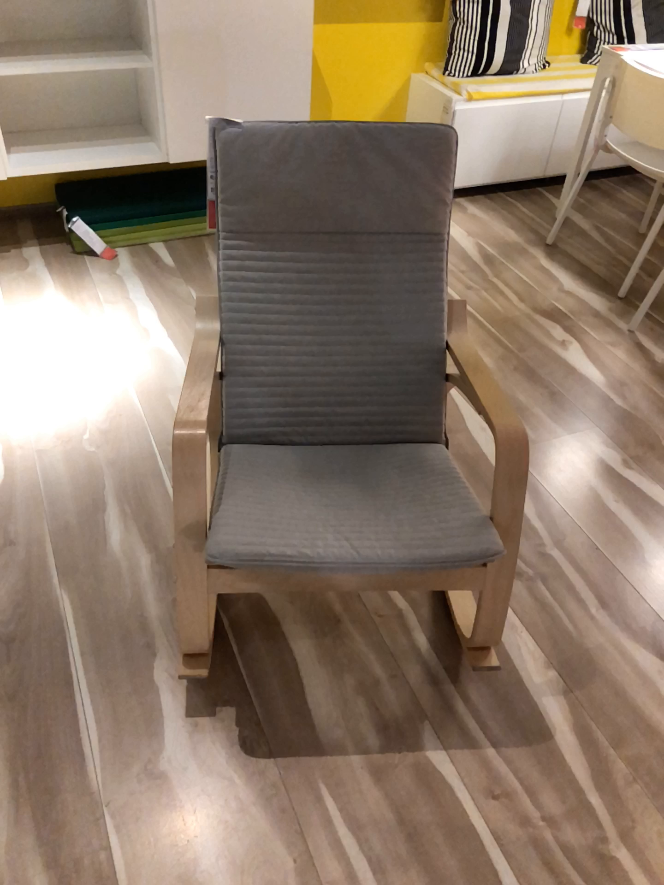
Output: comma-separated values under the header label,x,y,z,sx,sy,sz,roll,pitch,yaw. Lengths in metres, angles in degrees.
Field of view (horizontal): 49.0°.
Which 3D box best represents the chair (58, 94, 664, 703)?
label,x,y,z,sx,sy,sz,roll,pitch,yaw
chair,0.003,-0.070,1.447,0.750,0.944,0.705,-1,41,-6
